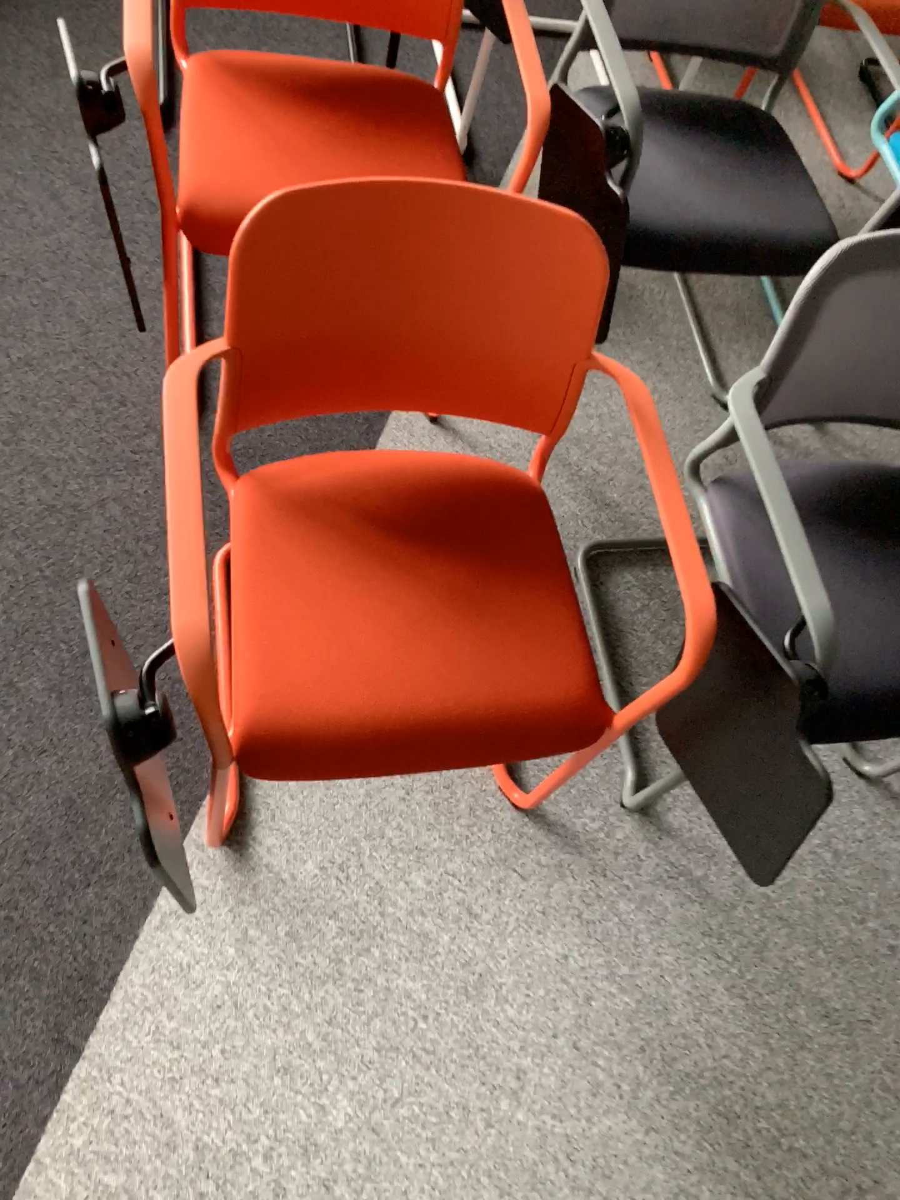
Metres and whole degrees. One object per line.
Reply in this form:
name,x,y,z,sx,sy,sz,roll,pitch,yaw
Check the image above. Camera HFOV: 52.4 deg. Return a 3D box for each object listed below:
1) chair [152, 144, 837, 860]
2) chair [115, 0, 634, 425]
chair,-0.056,-0.044,1.200,0.581,0.768,0.561,-3,66,-16
chair,-0.193,-0.764,1.517,0.611,0.758,0.601,-3,65,-16
